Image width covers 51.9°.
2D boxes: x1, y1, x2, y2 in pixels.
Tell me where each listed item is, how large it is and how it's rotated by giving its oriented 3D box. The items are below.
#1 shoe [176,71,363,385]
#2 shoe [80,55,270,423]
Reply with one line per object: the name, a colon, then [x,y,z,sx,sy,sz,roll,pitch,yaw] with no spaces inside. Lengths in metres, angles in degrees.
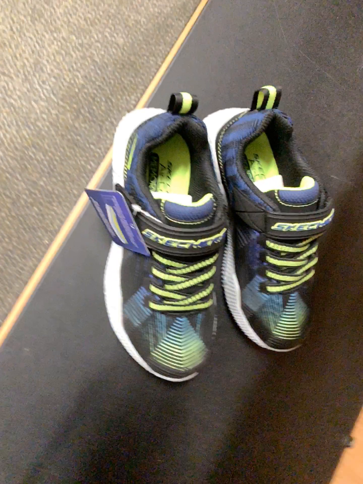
shoe: [0.076,-0.013,0.325,0.092,0.100,0.220,-13,94,-18]
shoe: [-0.012,-0.005,0.285,0.098,0.100,0.220,-6,92,-19]
